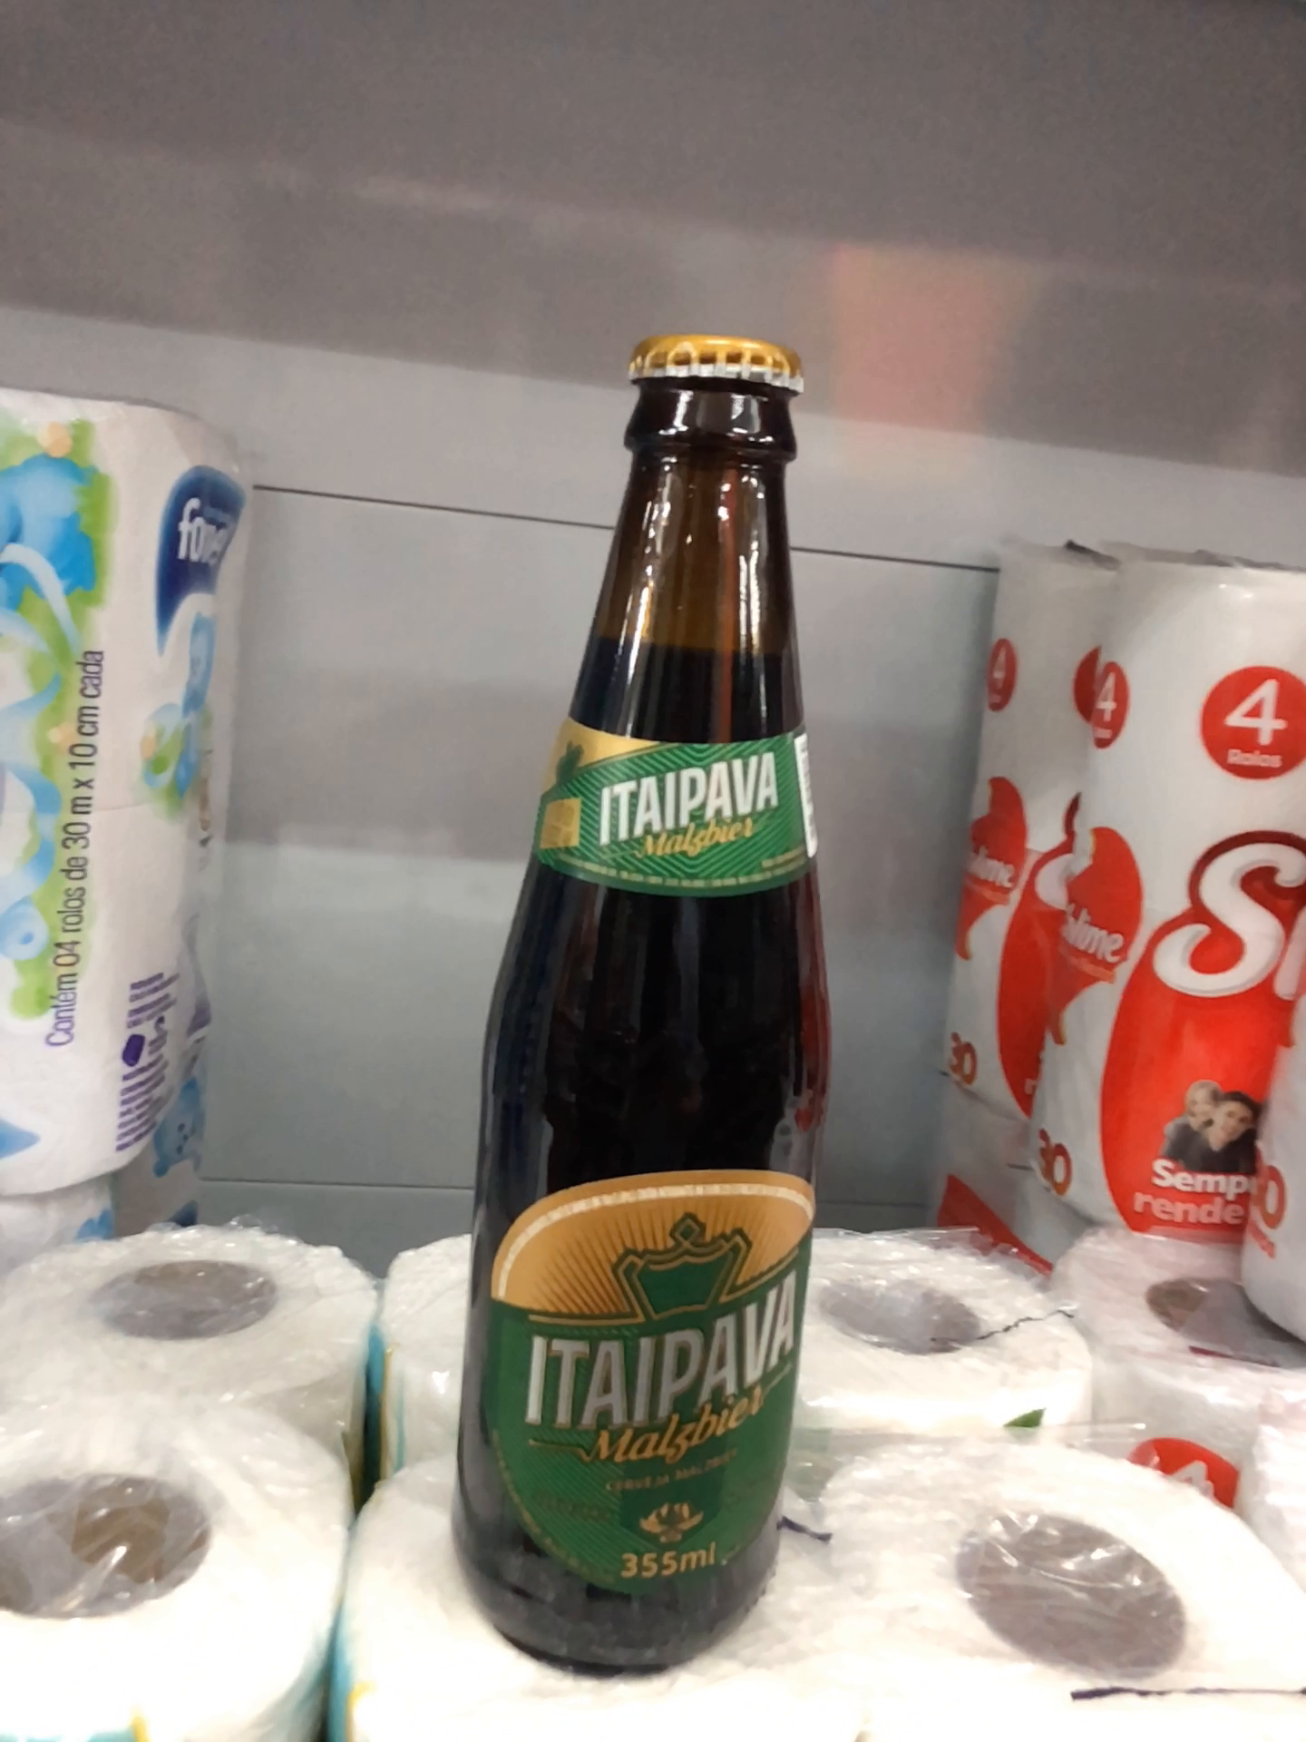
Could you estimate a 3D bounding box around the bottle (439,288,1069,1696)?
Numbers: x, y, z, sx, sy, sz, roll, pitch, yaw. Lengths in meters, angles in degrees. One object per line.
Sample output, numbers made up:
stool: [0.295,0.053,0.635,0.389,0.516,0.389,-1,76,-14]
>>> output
bottle: [0.009,0.023,0.254,0.070,0.219,0.060,3,11,-15]
